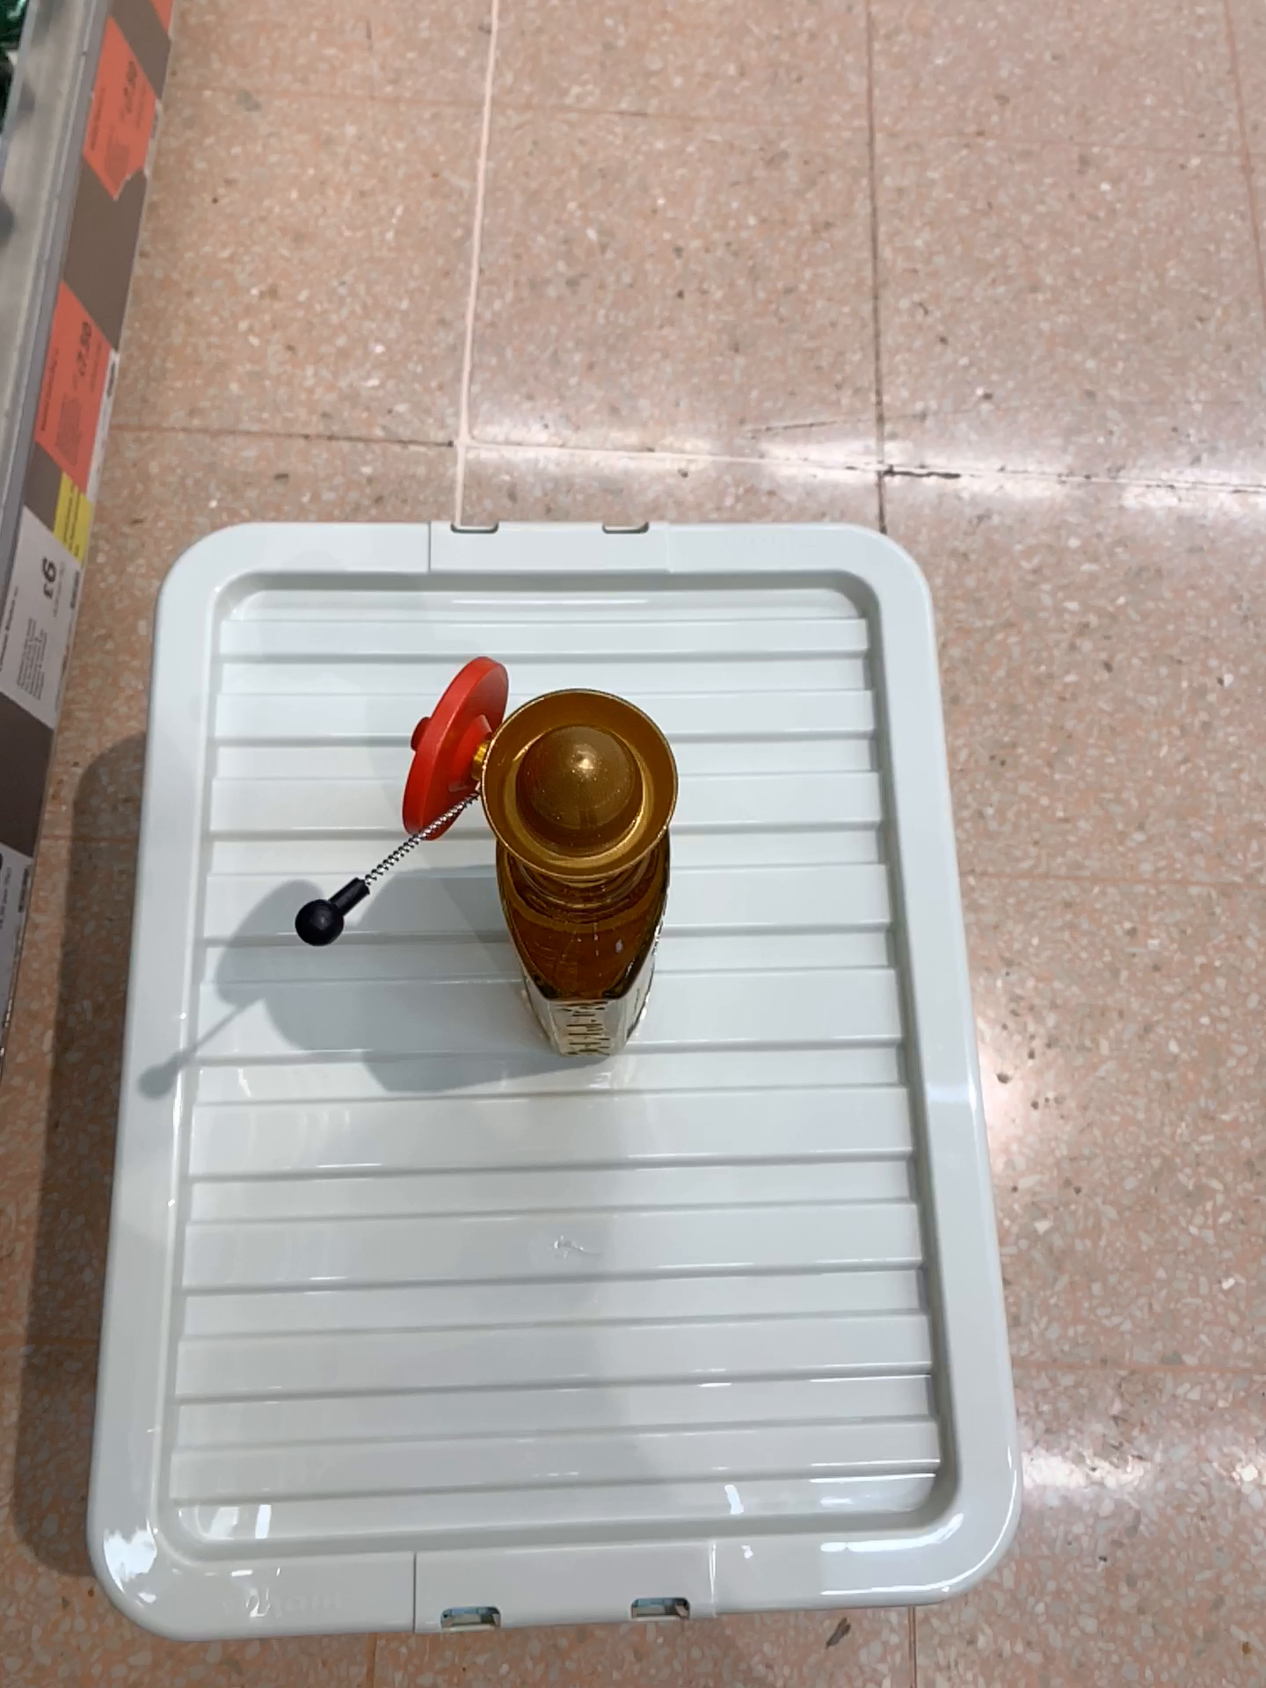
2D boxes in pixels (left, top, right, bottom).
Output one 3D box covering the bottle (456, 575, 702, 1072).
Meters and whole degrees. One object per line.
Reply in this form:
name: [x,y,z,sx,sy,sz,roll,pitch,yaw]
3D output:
bottle: [-0.019,0.014,0.444,0.058,0.259,0.100,0,74,-3]
